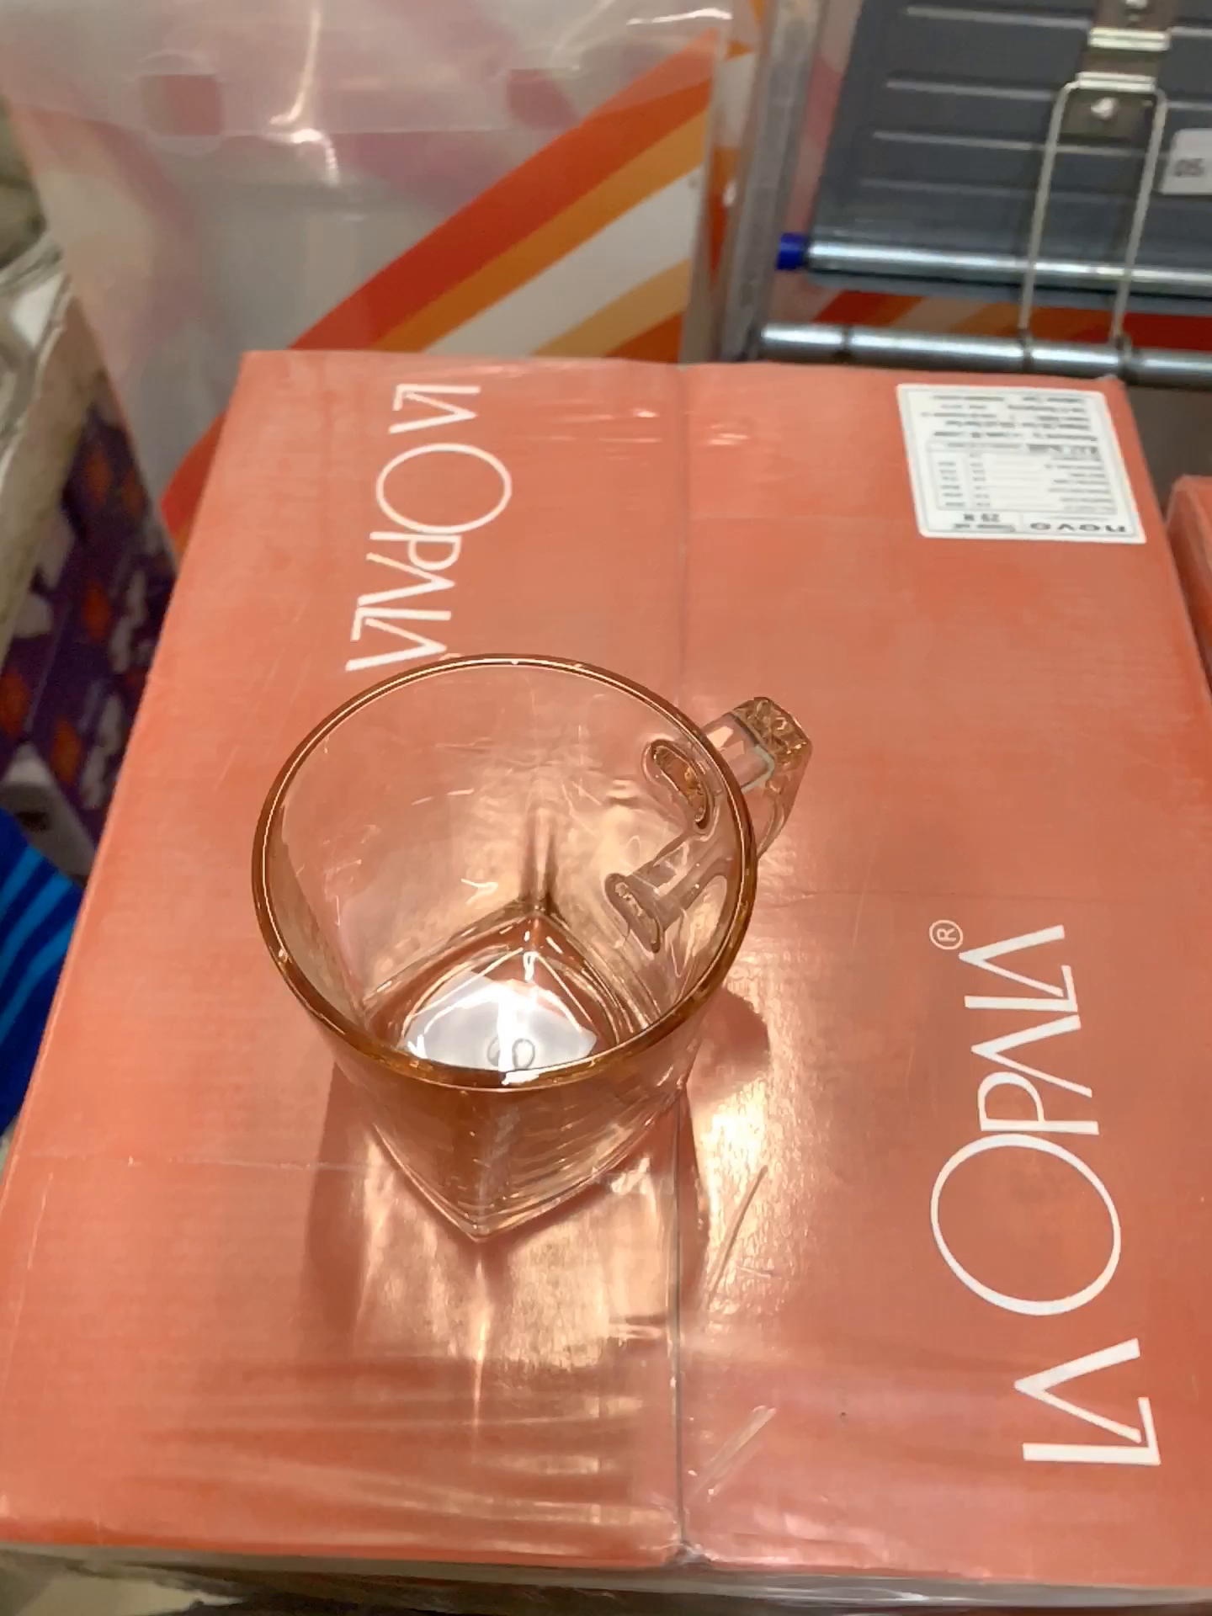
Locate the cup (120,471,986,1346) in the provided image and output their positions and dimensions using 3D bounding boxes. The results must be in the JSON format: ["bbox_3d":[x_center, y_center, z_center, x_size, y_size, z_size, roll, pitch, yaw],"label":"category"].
[{"bbox_3d":[-0.009,0.023,0.232,0.100,0.110,0.080,-32,63,-20],"label":"cup"}]
